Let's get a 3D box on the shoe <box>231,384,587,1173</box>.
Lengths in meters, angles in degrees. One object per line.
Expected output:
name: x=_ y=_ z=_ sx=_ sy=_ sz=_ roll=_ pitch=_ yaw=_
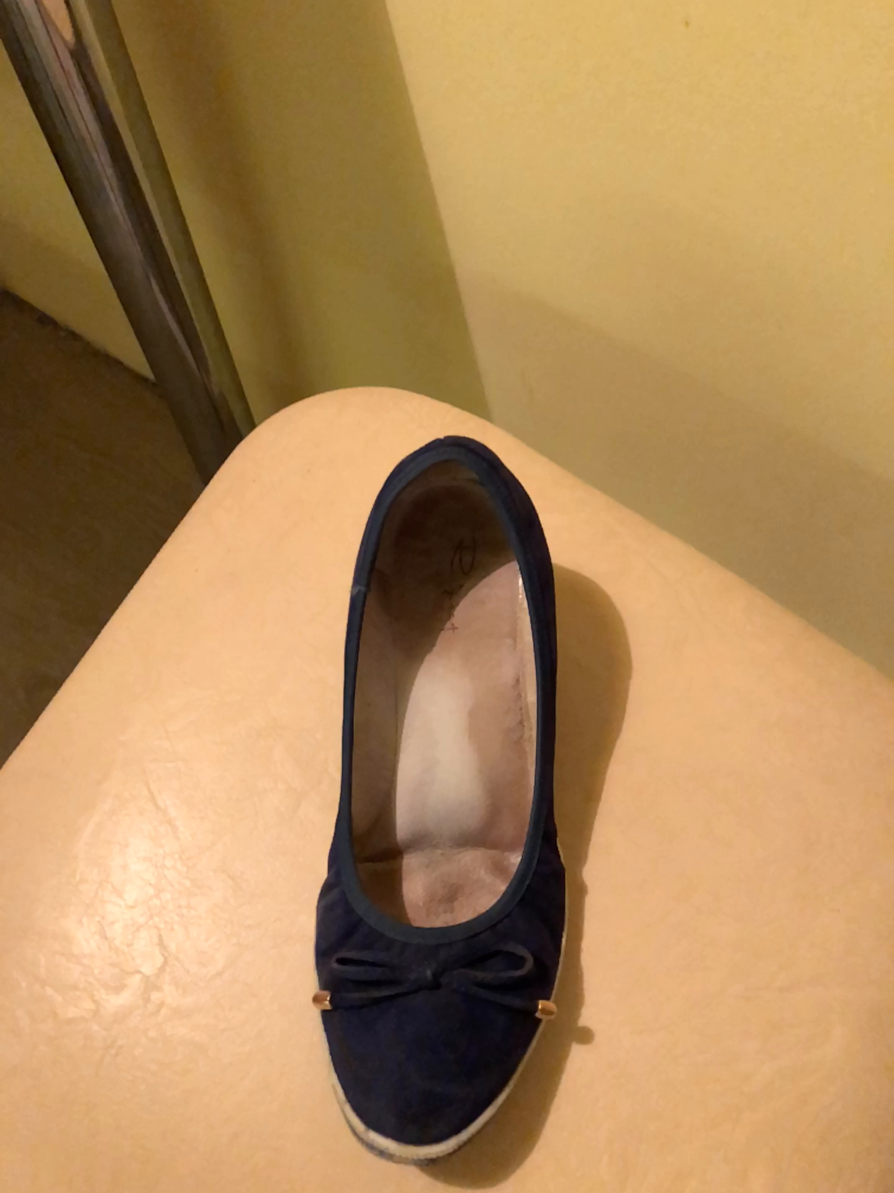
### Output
shoe: x=-0.003 y=0.056 z=0.351 sx=0.090 sy=0.100 sz=0.251 roll=2 pitch=62 yaw=2
